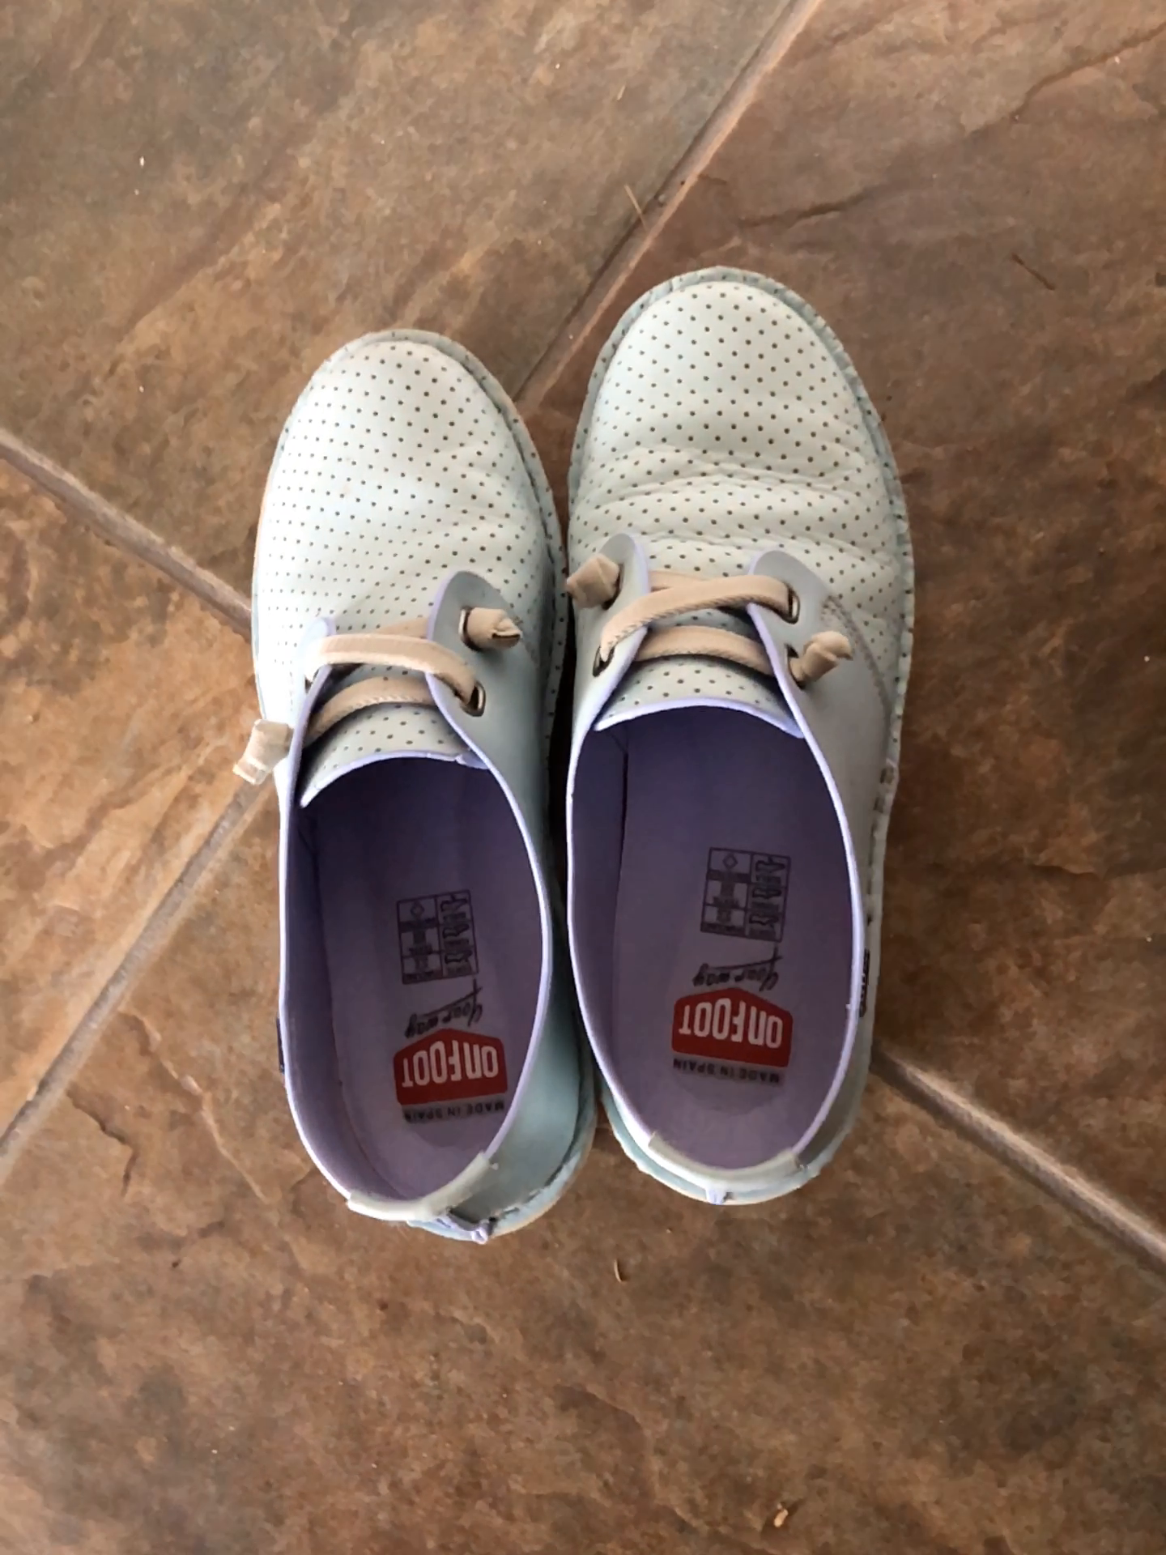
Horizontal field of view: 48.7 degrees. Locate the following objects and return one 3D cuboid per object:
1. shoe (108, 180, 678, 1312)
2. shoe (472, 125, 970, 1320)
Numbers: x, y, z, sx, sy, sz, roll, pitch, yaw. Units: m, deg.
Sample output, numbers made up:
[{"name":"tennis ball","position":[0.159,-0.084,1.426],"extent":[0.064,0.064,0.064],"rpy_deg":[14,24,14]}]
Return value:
[{"name":"shoe","position":[-0.045,-0.006,0.345],"extent":[0.100,0.100,0.250],"rpy_deg":[-9,82,7]},{"name":"shoe","position":[0.036,-0.012,0.323],"extent":[0.100,0.100,0.250],"rpy_deg":[0,83,9]}]
